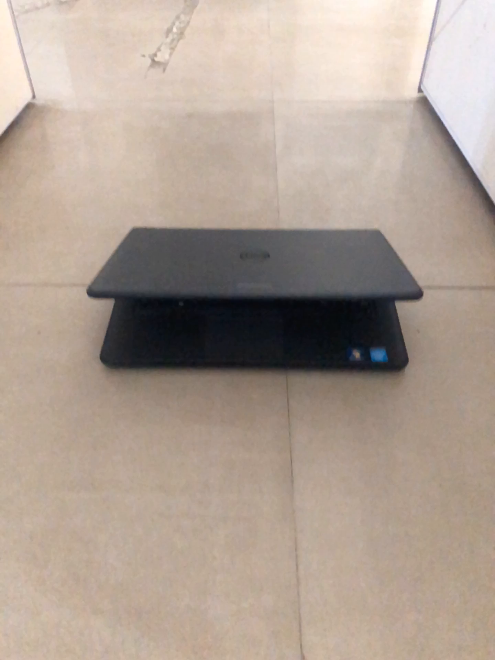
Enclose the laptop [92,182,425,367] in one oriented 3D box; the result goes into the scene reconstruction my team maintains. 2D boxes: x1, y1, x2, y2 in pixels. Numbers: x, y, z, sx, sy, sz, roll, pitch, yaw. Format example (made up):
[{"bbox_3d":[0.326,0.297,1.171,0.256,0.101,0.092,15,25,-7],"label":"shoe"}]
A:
[{"bbox_3d":[0.014,-0.072,0.610,0.314,0.064,0.222,1,48,3],"label":"laptop"}]
